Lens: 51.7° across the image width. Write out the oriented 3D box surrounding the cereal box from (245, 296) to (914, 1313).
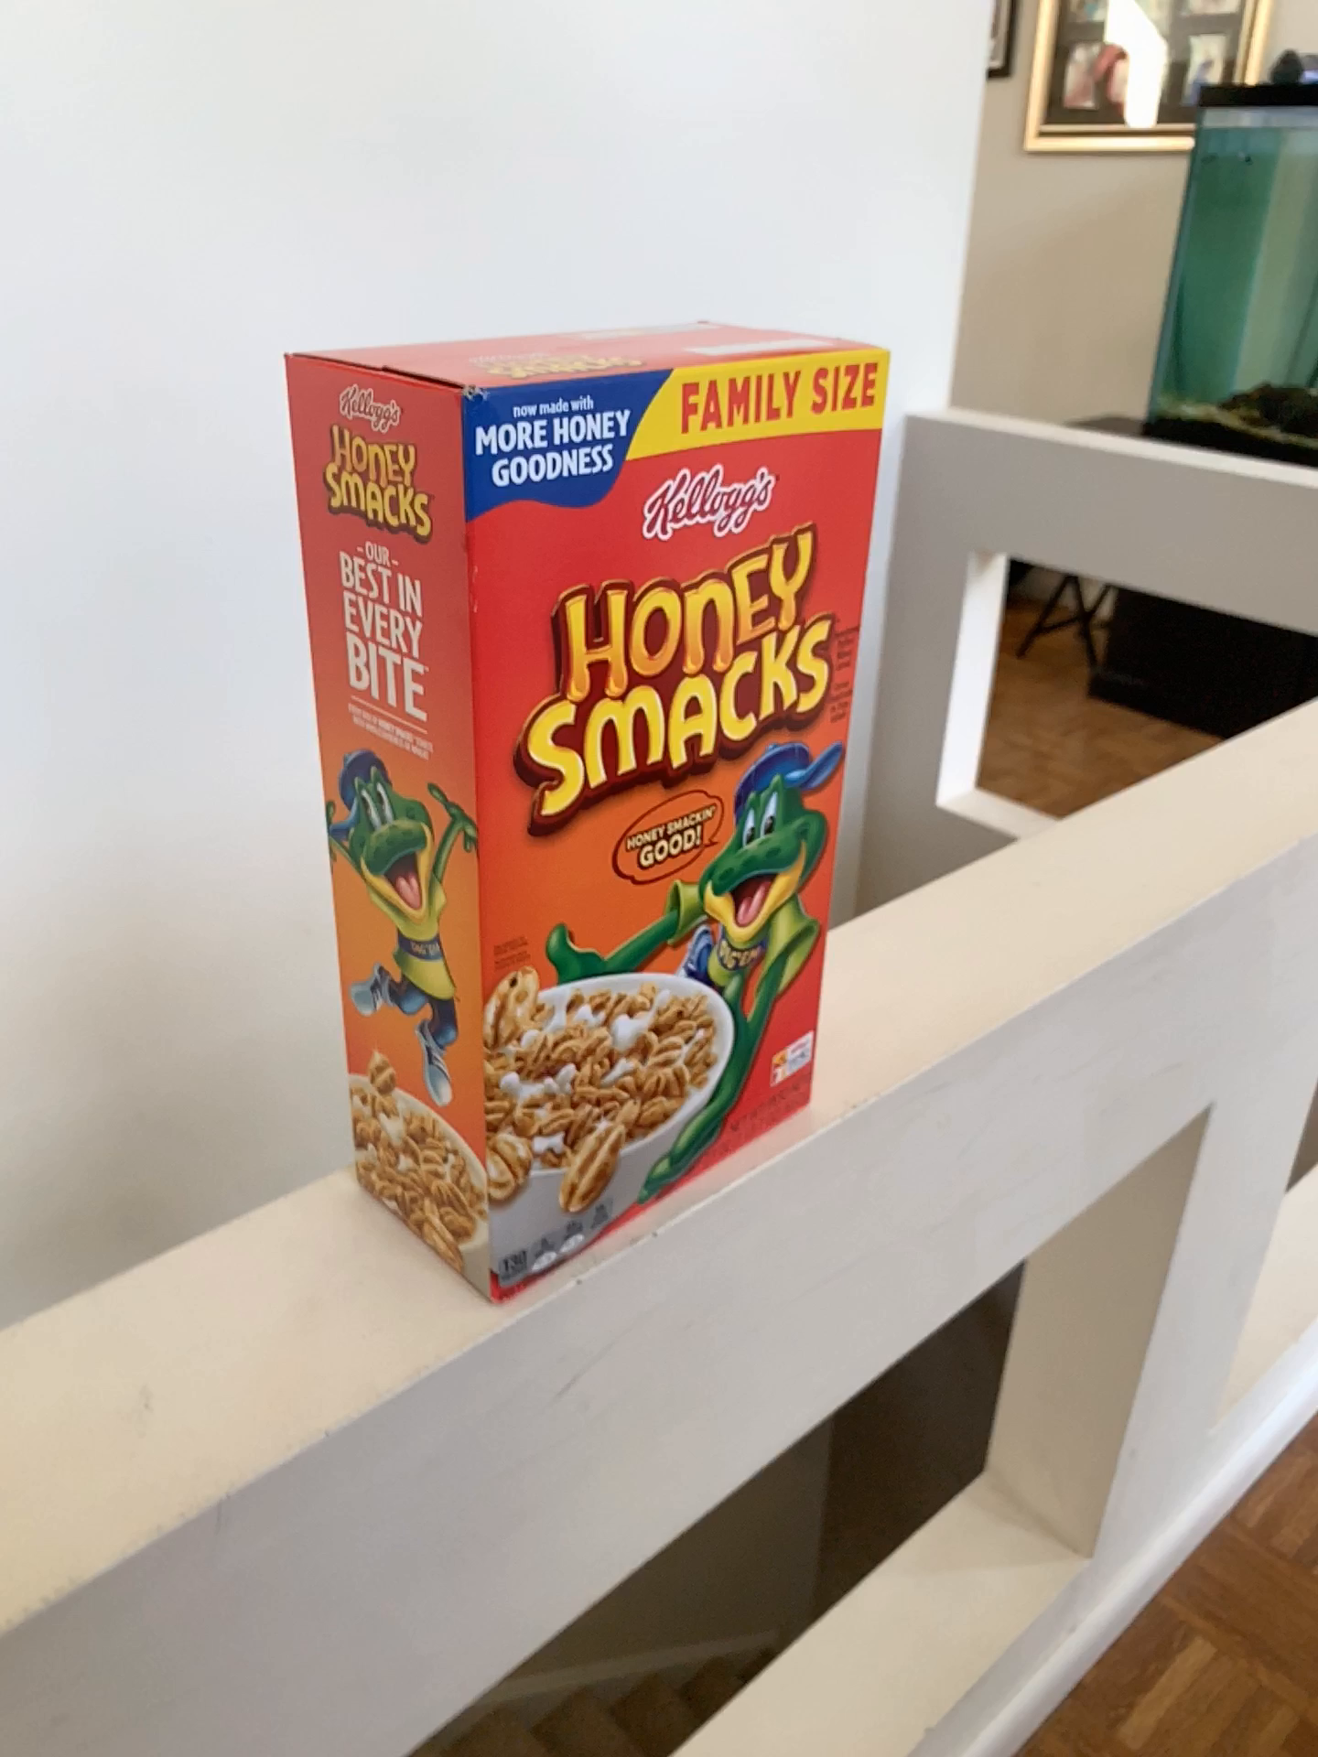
[{"bbox_3d":[-0.022,-0.036,0.533,0.210,0.338,0.100,-23,36,-39],"label":"cereal box"}]
